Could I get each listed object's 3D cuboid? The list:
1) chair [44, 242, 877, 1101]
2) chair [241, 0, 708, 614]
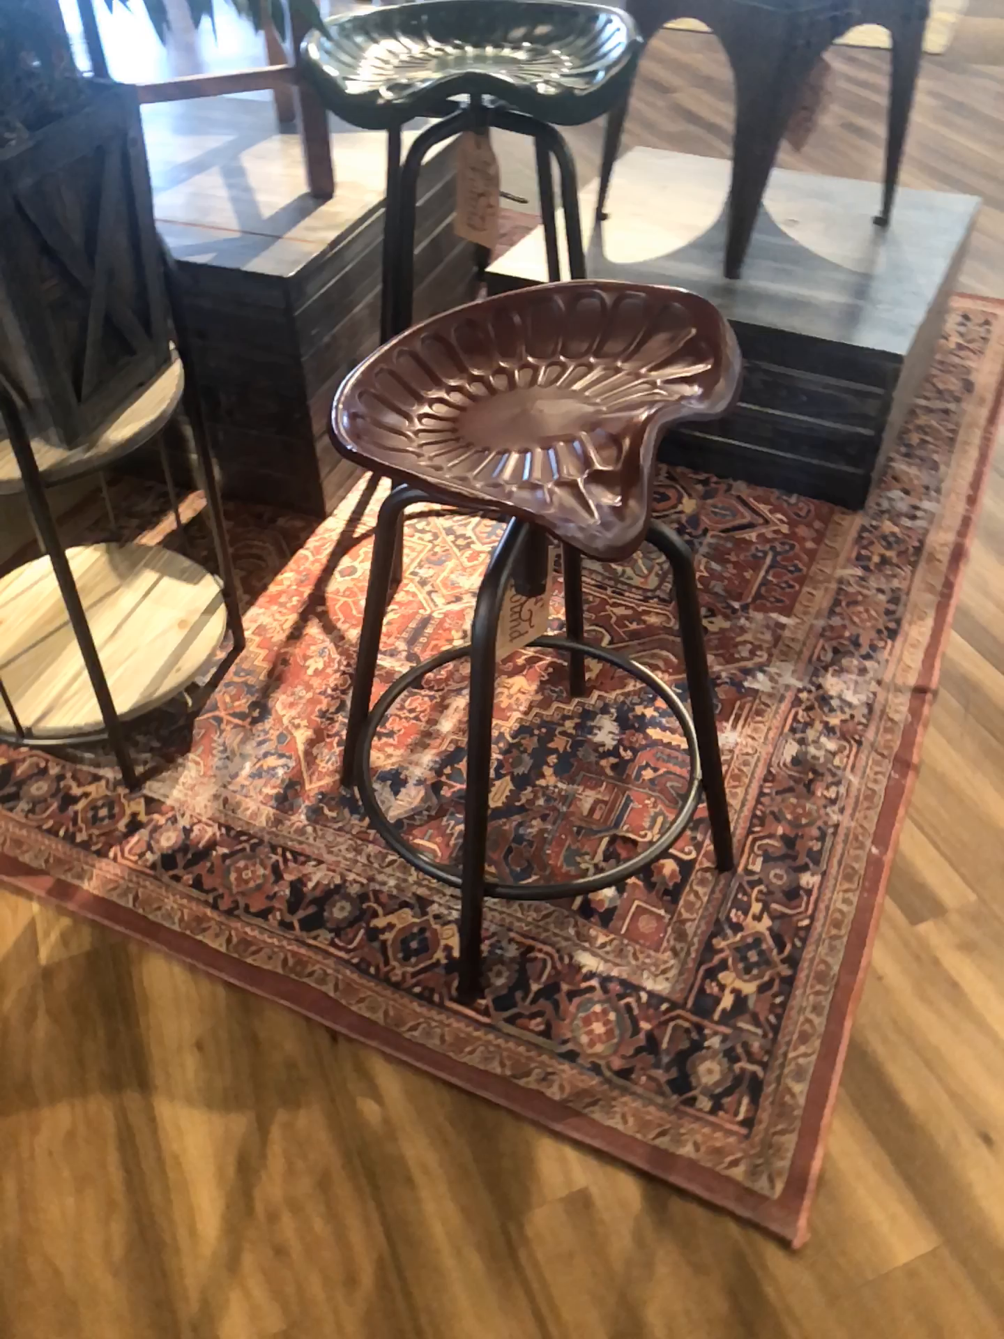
[{"bbox_3d":[0.014,-0.018,1.216,0.610,0.627,0.569,12,44,13],"label":"chair"},{"bbox_3d":[-0.074,-0.602,1.764,0.537,0.737,0.612,-9,44,-9],"label":"chair"}]
